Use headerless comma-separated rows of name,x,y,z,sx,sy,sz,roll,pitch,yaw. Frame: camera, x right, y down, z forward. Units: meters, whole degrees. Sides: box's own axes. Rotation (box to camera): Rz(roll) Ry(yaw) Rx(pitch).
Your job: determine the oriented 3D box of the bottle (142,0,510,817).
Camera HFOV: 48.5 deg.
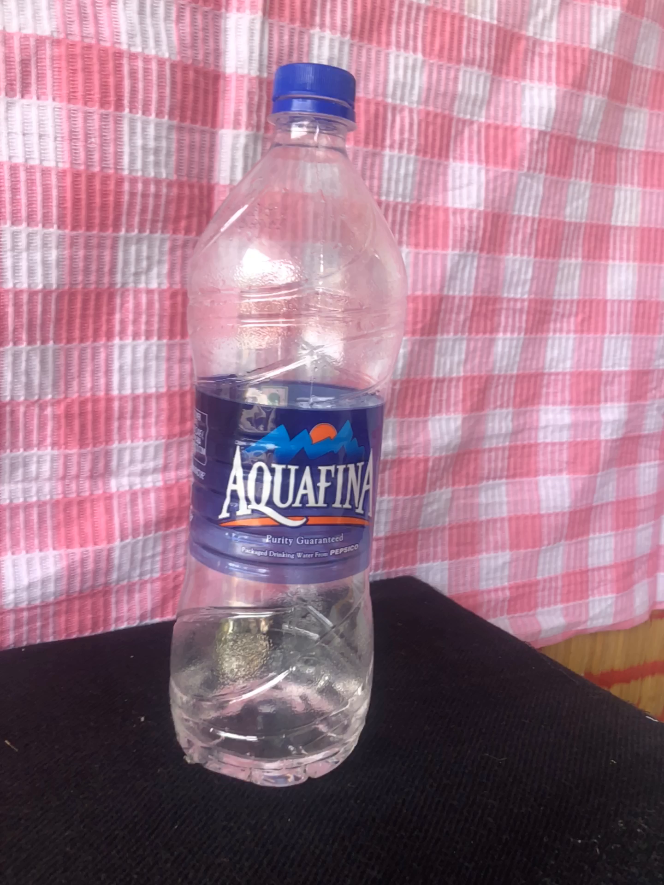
bottle,-0.013,-0.002,0.268,0.090,0.259,0.070,4,13,-11
